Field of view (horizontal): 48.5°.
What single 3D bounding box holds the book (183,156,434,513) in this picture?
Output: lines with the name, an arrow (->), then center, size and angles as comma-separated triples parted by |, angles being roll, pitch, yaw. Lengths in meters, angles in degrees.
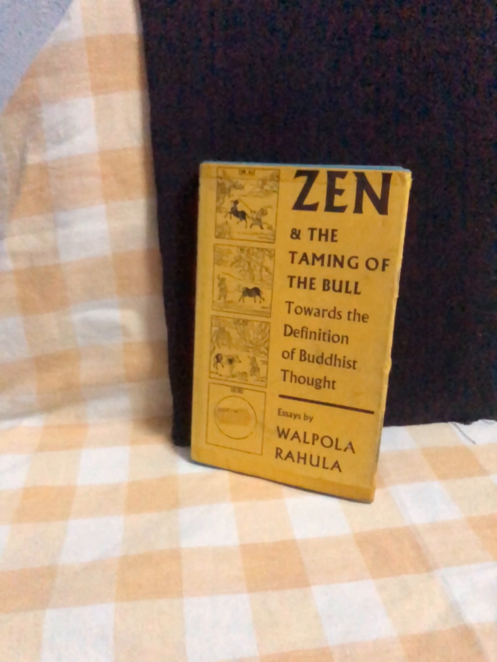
book -> 0.031, 0.000, 0.358 | 0.140, 0.209, 0.030 | 9, 15, 18
